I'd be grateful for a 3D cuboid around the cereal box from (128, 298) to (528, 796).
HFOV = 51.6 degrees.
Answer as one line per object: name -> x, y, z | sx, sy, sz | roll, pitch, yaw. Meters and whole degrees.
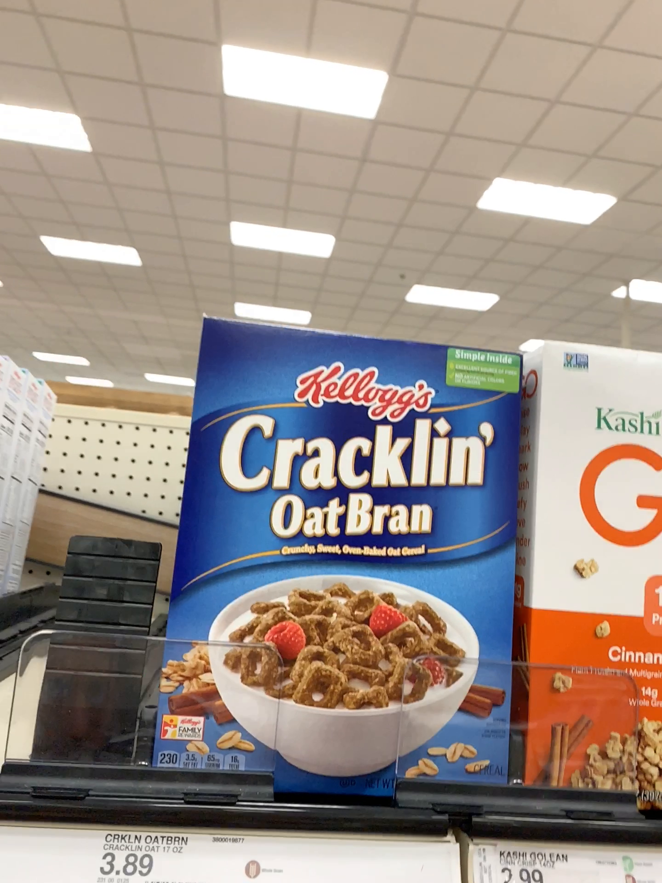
cereal box -> 0.003, 0.058, 0.380 | 0.190, 0.240, 0.050 | 7, -8, -10
